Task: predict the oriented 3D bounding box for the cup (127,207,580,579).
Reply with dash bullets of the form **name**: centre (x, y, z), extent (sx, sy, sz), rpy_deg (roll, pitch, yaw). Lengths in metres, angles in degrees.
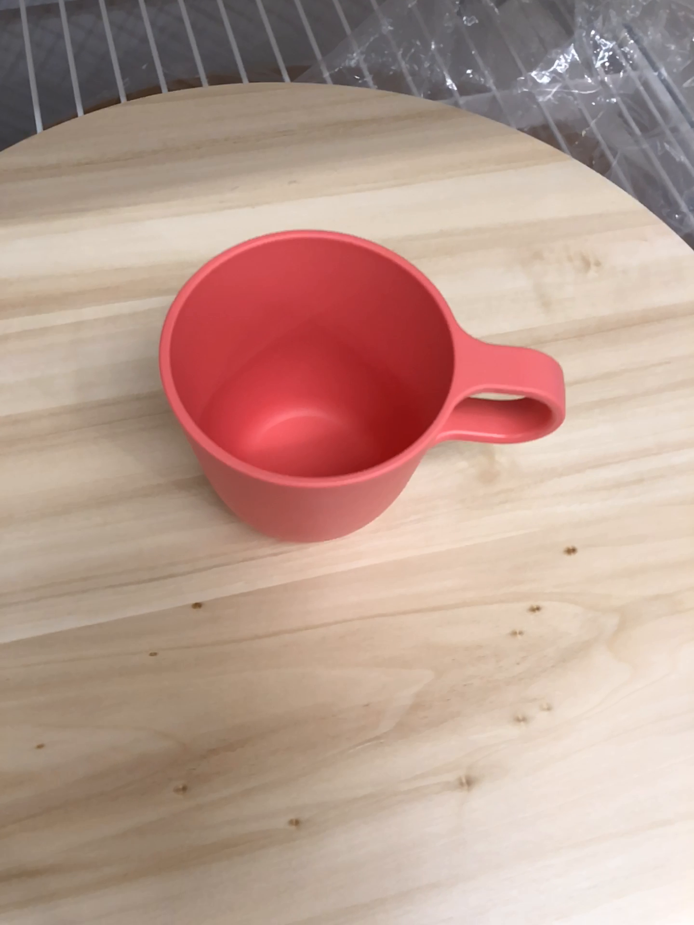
- **cup**: centre (0.002, -0.017, 0.242), extent (0.110, 0.080, 0.080), rpy_deg (3, 62, -1)
